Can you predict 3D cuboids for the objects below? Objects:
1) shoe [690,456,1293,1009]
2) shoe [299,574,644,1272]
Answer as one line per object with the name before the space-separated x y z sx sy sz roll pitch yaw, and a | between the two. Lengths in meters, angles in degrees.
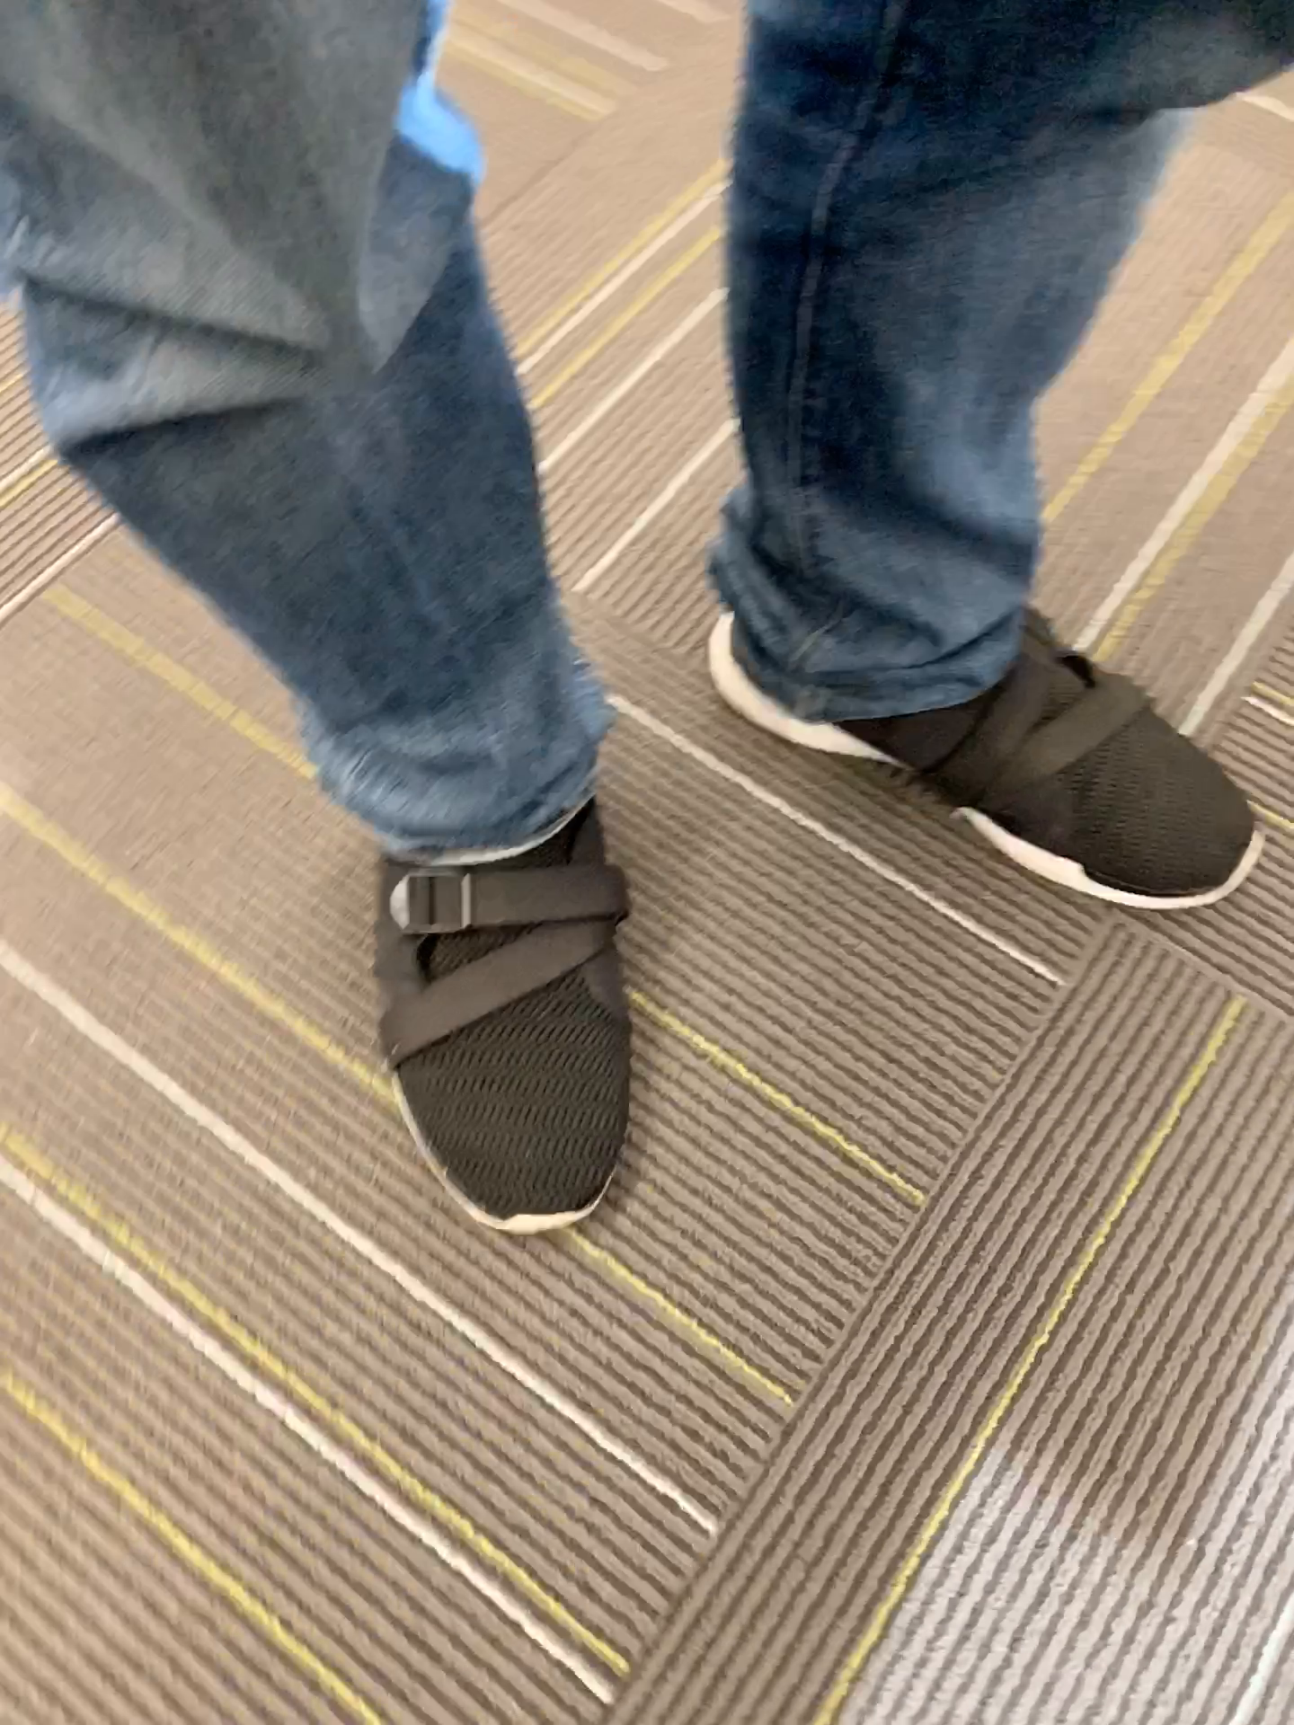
shoe | 0.183 -0.070 0.700 0.300 0.120 0.120 31 67 14
shoe | -0.086 0.023 0.633 0.120 0.110 0.301 -8 63 -5
